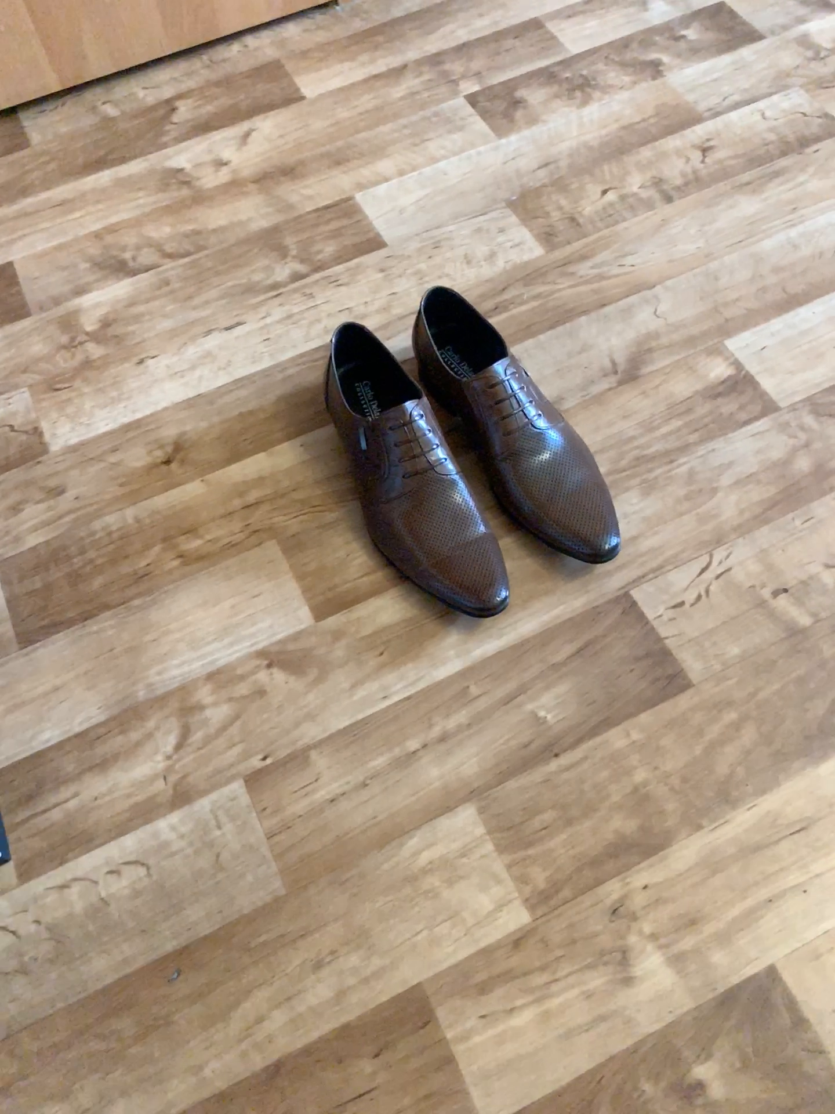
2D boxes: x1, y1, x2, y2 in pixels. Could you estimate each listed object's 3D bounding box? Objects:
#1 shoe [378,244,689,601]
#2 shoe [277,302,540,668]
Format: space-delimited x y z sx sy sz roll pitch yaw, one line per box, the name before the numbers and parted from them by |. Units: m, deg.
shoe | 0.090 -0.128 0.766 0.110 0.100 0.311 -28 63 -11
shoe | -0.013 -0.070 0.765 0.100 0.120 0.301 -25 63 -9
